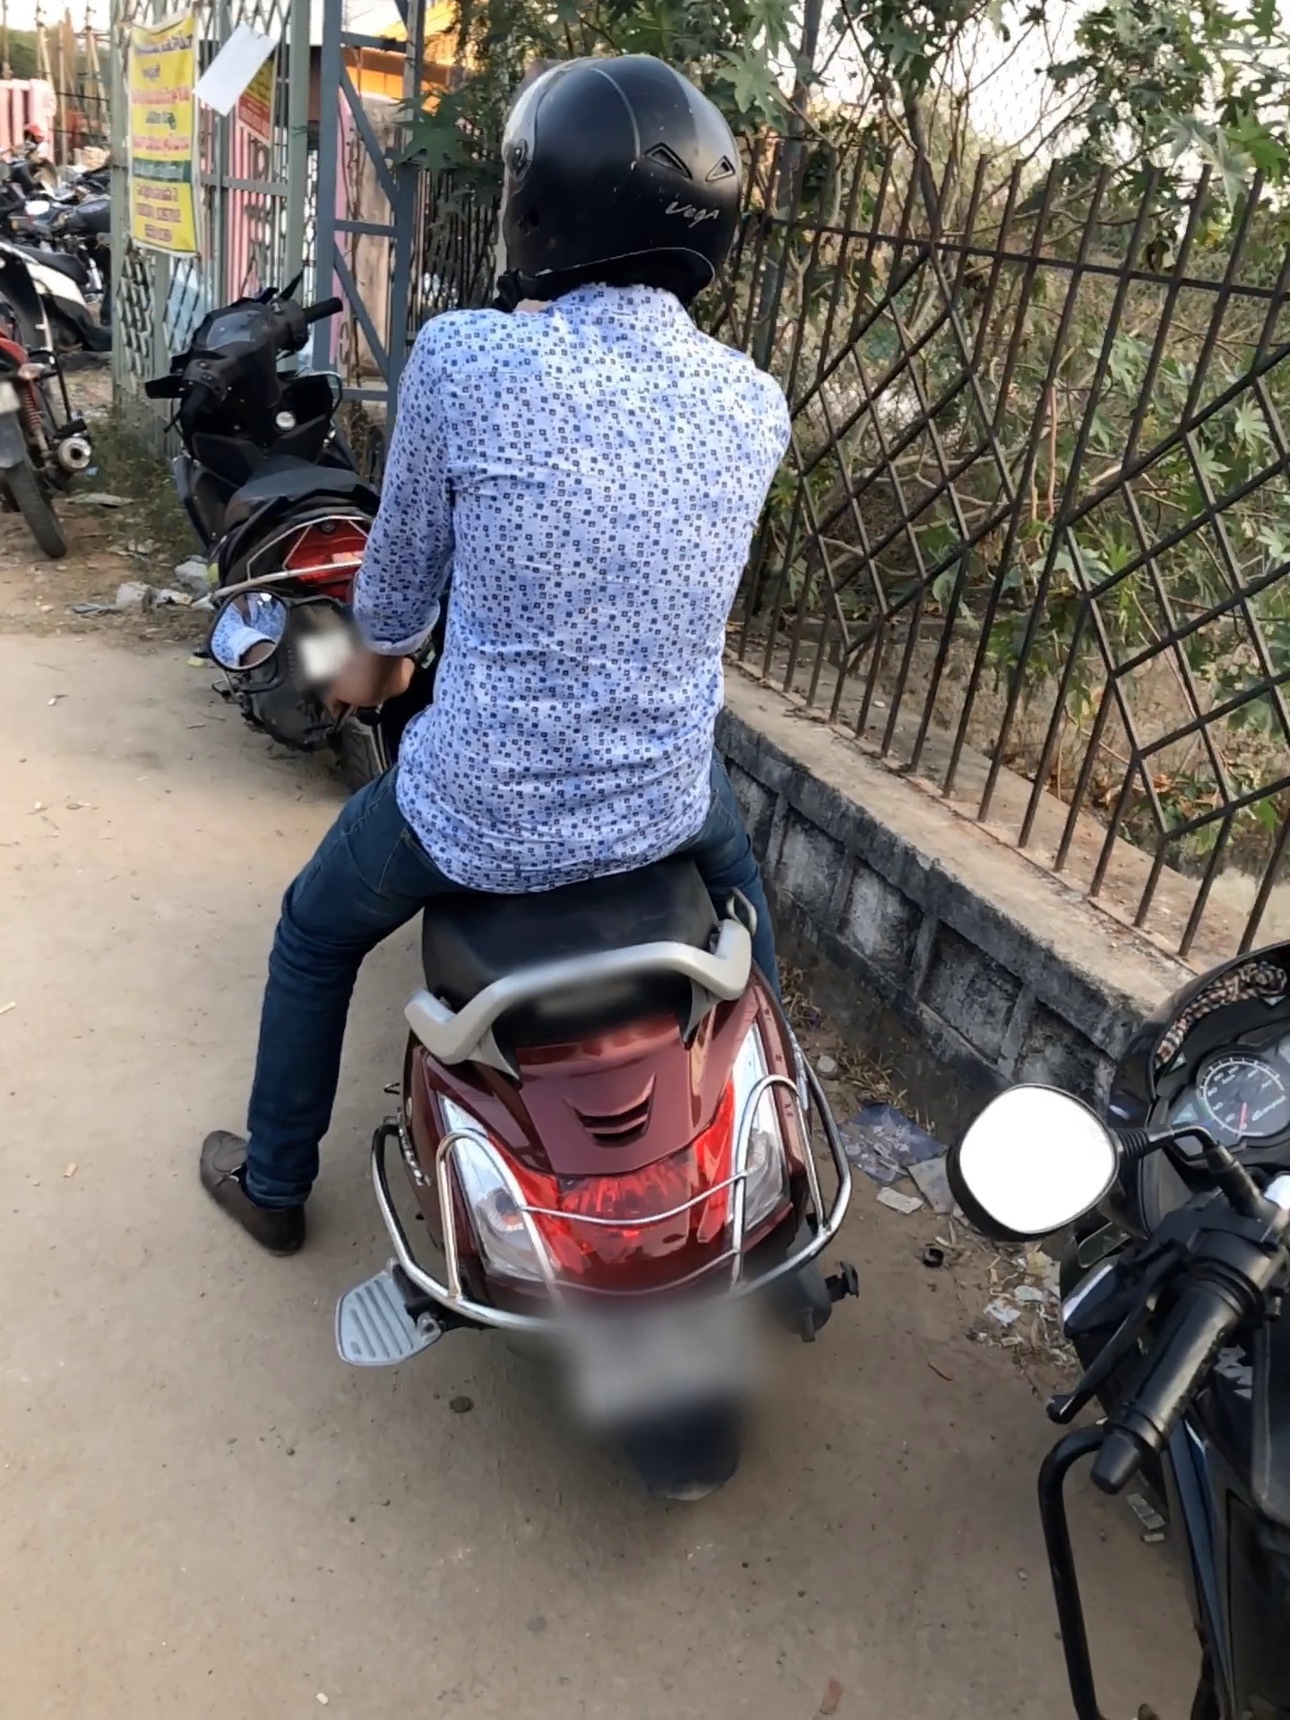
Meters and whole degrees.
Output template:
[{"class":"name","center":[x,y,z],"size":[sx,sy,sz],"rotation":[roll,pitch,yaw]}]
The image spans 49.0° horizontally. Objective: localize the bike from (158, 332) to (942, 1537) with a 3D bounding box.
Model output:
[{"class":"bike","center":[-0.335,-0.069,1.969],"size":[0.577,0.963,1.495],"rotation":[-1,28,-20]}]
